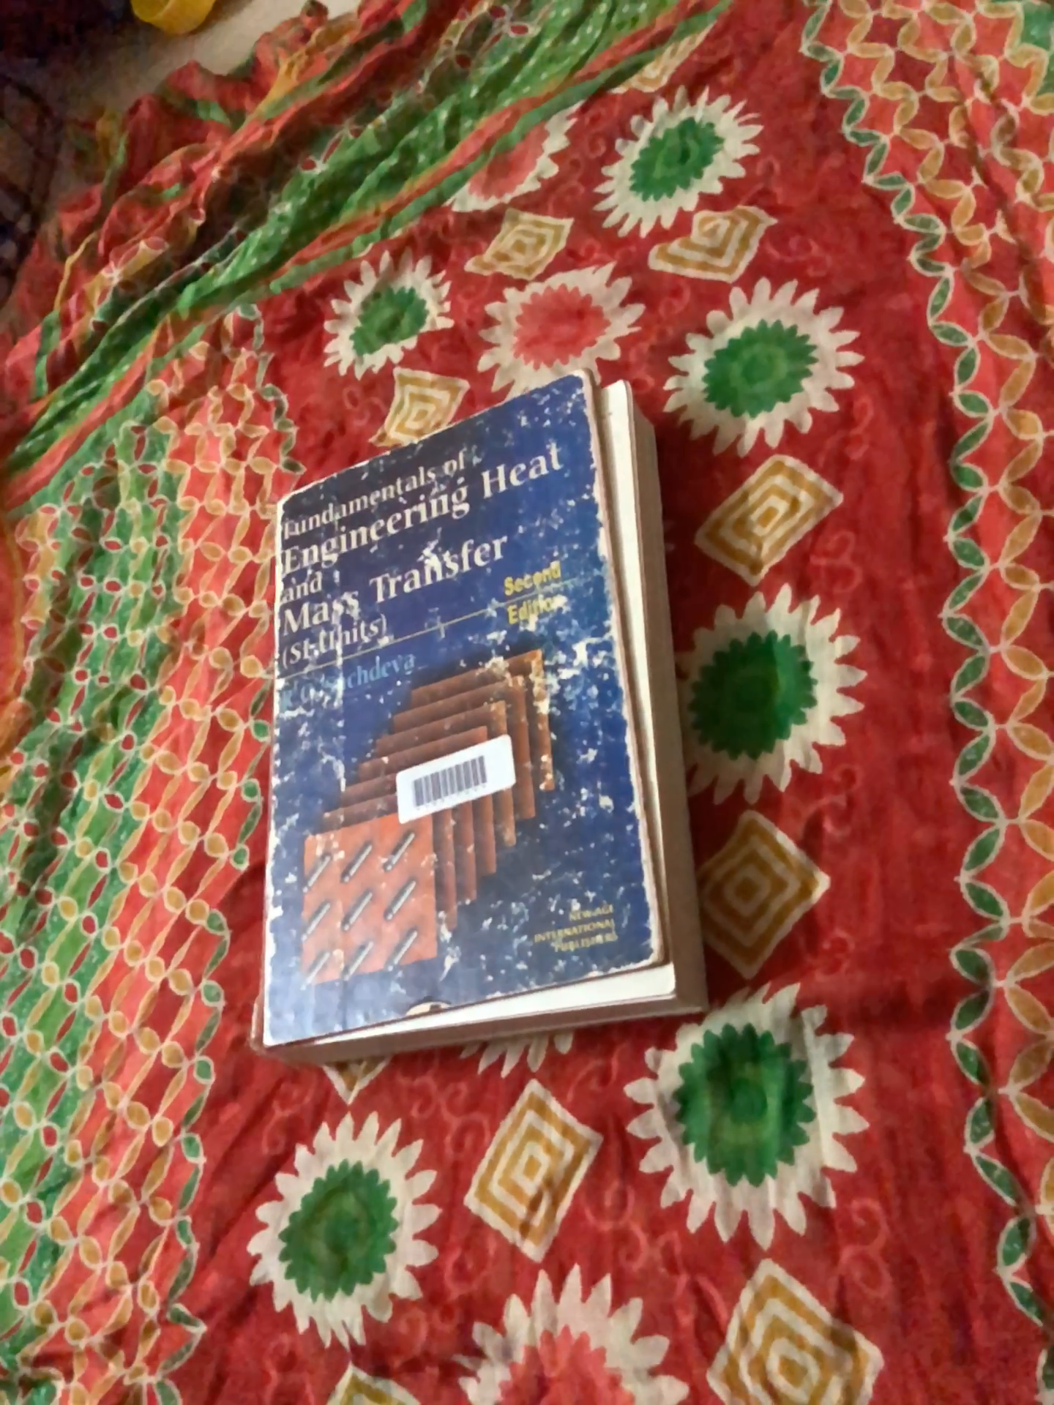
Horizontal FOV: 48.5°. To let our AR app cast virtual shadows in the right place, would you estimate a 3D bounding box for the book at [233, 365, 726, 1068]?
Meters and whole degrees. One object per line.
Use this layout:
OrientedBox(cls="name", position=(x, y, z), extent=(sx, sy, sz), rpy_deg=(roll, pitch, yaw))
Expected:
OrientedBox(cls="book", position=(-0.022, 0.008, 0.397), extent=(0.151, 0.043, 0.209), rpy_deg=(-15, 64, 26))
